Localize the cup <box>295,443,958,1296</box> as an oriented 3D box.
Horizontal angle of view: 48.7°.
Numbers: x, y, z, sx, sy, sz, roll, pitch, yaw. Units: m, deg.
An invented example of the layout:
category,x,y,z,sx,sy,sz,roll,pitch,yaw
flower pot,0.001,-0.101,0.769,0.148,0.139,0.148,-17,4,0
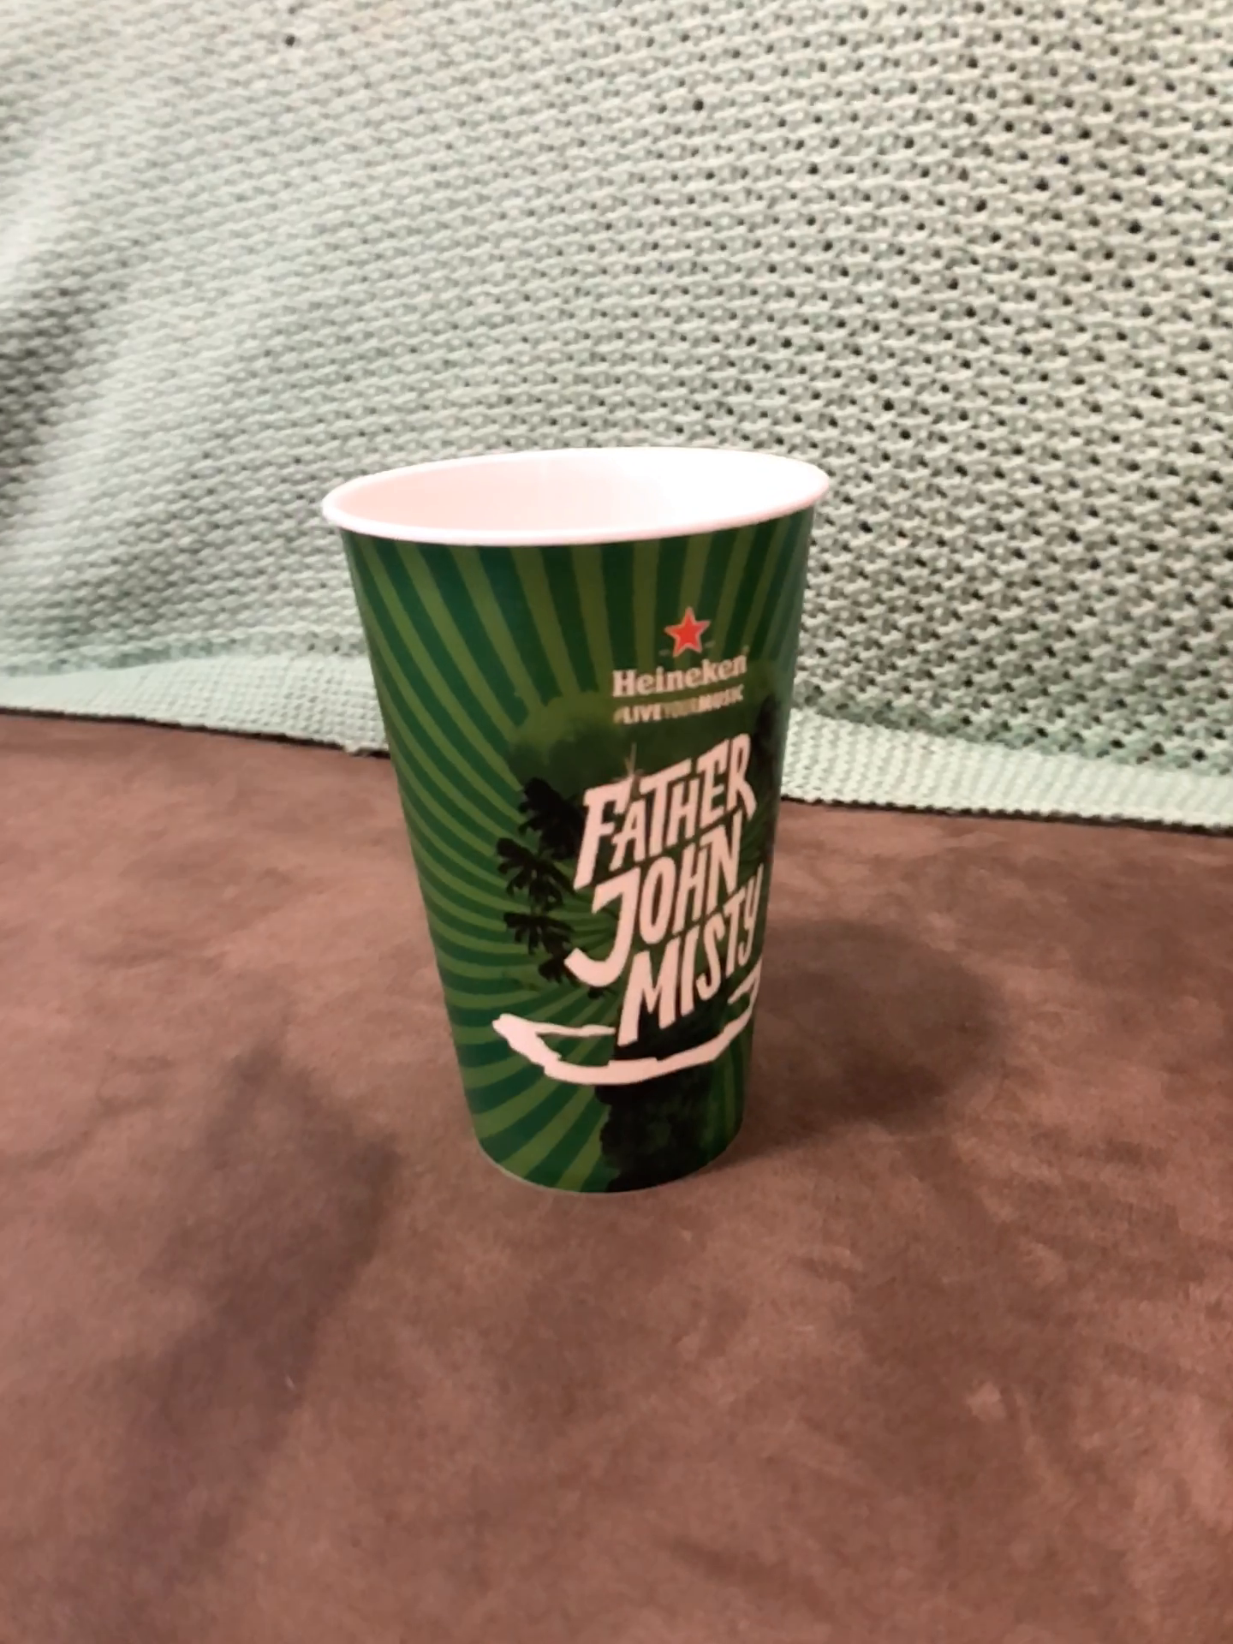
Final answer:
category,x,y,z,sx,sy,sz,roll,pitch,yaw
cup,-0.005,-0.001,0.272,0.100,0.129,0.101,-2,21,1
